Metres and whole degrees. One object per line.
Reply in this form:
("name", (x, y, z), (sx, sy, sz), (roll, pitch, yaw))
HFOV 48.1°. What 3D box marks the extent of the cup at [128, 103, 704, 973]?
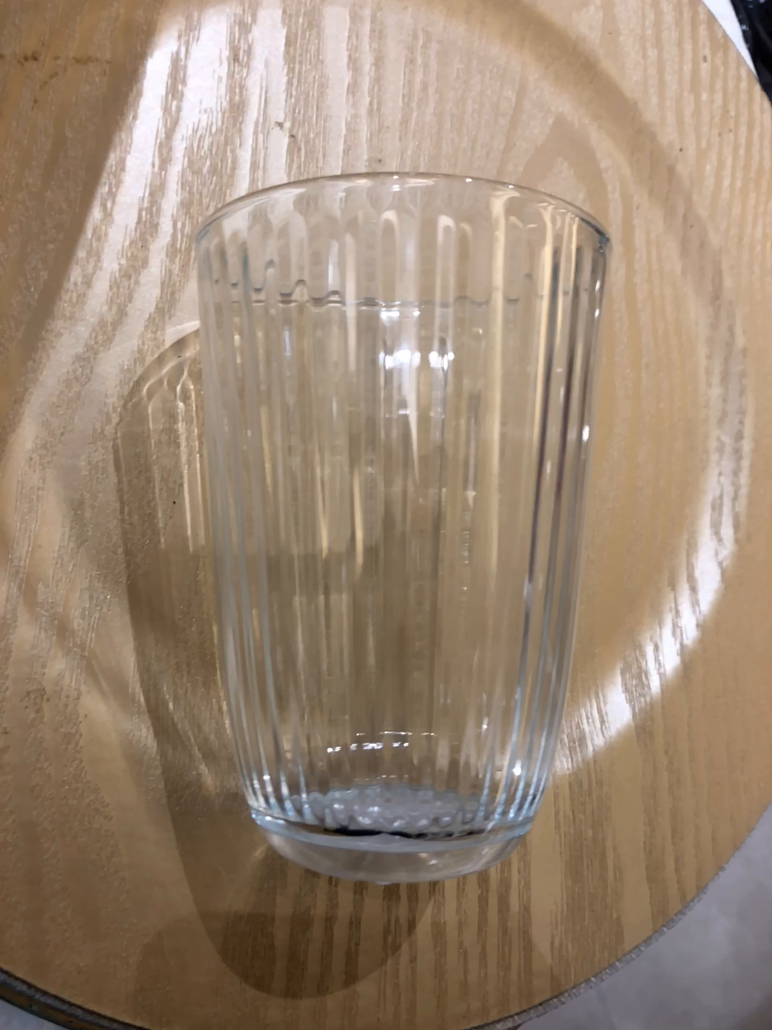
("cup", (0.000, 0.004, 0.180), (0.090, 0.070, 0.130), (0, 83, -27))
